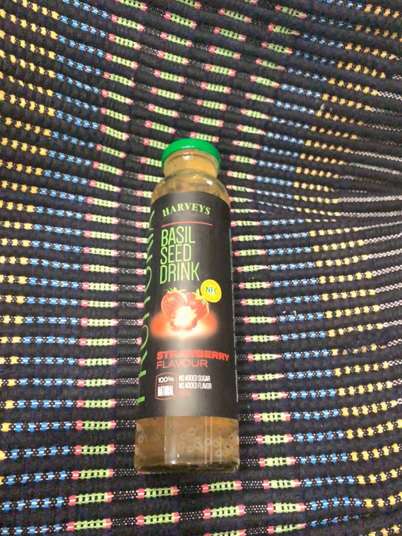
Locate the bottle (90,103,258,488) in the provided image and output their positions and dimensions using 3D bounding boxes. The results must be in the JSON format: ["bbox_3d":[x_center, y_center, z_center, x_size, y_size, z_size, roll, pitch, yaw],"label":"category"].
[{"bbox_3d":[-0.009,0.008,0.254,0.060,0.060,0.220,-11,60,20],"label":"bottle"}]
